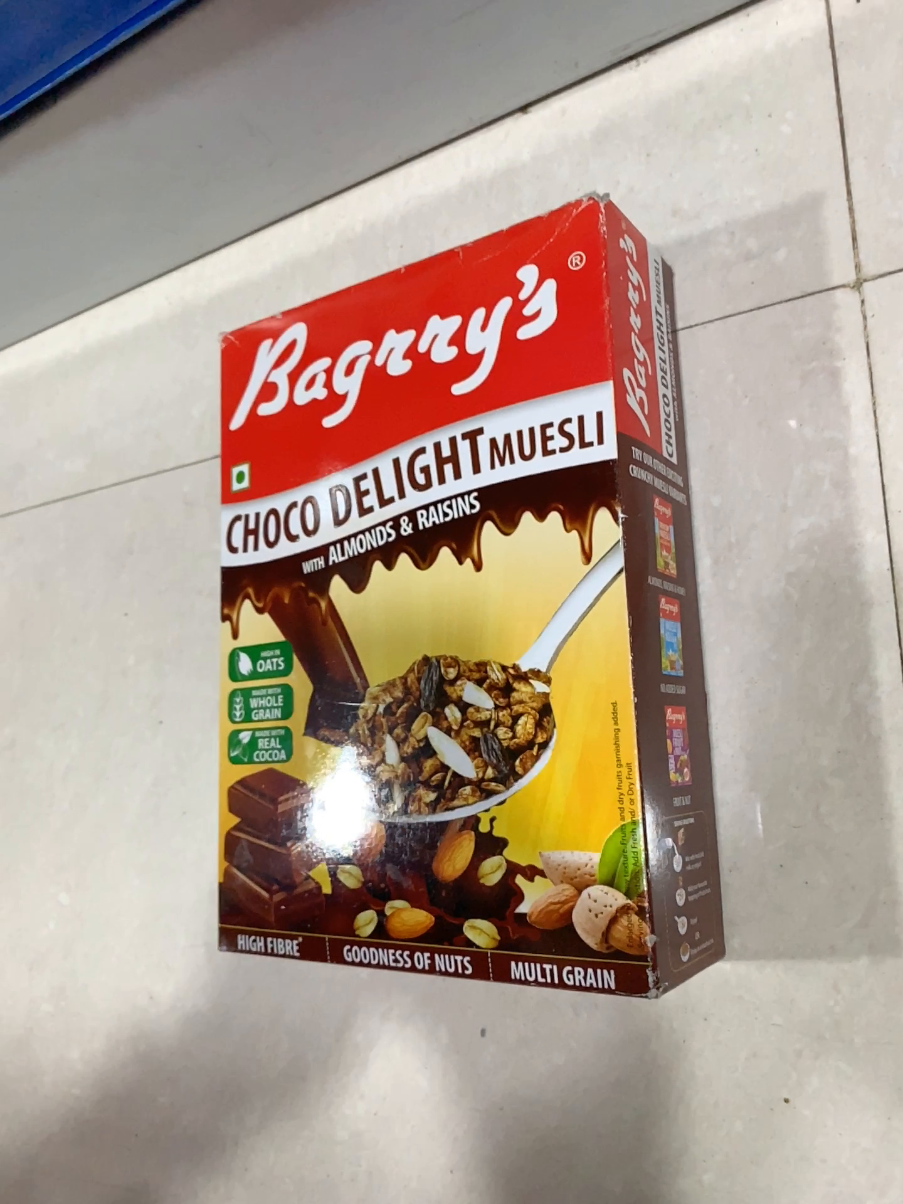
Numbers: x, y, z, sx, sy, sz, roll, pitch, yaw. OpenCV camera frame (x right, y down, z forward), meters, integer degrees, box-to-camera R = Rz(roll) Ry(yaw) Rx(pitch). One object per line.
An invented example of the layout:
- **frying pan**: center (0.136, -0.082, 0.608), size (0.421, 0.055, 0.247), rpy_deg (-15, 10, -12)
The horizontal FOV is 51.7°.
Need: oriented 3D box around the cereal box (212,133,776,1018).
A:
- **cereal box**: center (0.006, -0.003, 0.376), size (0.201, 0.080, 0.280), rpy_deg (-8, 79, 32)
